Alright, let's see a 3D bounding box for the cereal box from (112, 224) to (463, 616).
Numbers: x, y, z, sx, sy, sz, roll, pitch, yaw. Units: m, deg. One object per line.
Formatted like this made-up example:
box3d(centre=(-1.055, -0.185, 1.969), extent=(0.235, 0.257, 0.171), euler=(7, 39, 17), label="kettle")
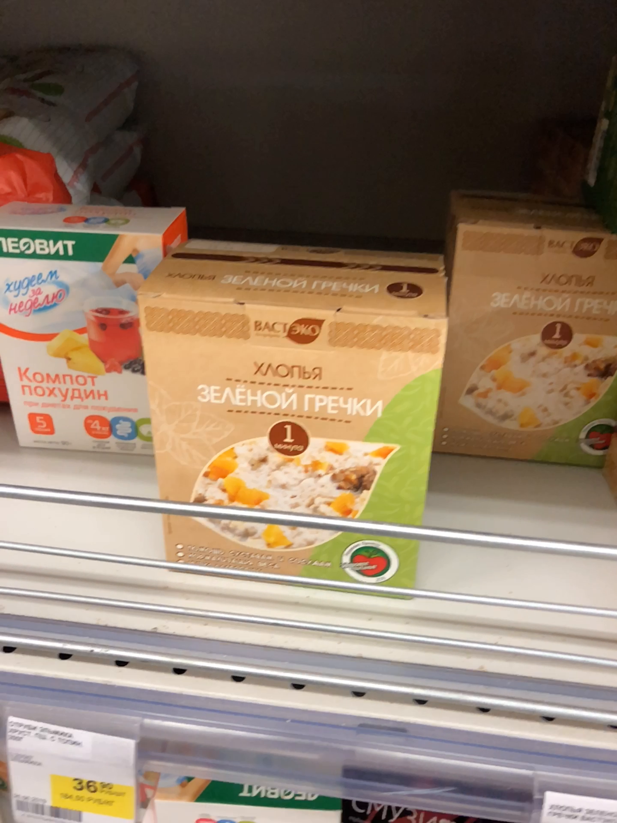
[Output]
box3d(centre=(-0.004, 0.002, 0.326), extent=(0.130, 0.149, 0.091), euler=(5, 31, 7), label="cereal box")
